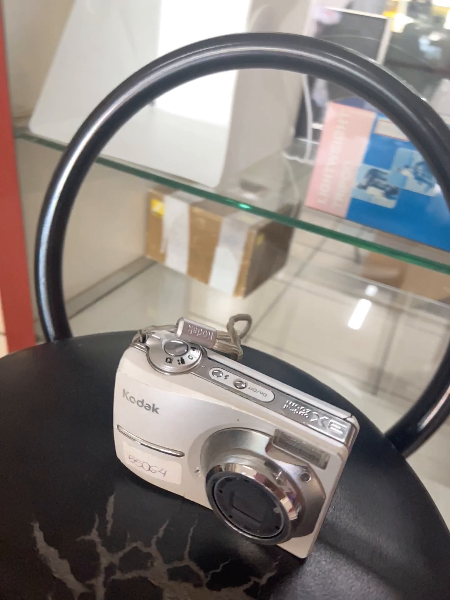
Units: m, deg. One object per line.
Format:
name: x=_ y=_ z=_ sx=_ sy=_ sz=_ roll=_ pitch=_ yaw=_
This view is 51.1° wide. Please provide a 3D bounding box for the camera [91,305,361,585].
camera: x=-0.003 y=0.055 z=0.188 sx=0.090 sy=0.070 sz=0.040 roll=19 pitch=32 yaw=17
